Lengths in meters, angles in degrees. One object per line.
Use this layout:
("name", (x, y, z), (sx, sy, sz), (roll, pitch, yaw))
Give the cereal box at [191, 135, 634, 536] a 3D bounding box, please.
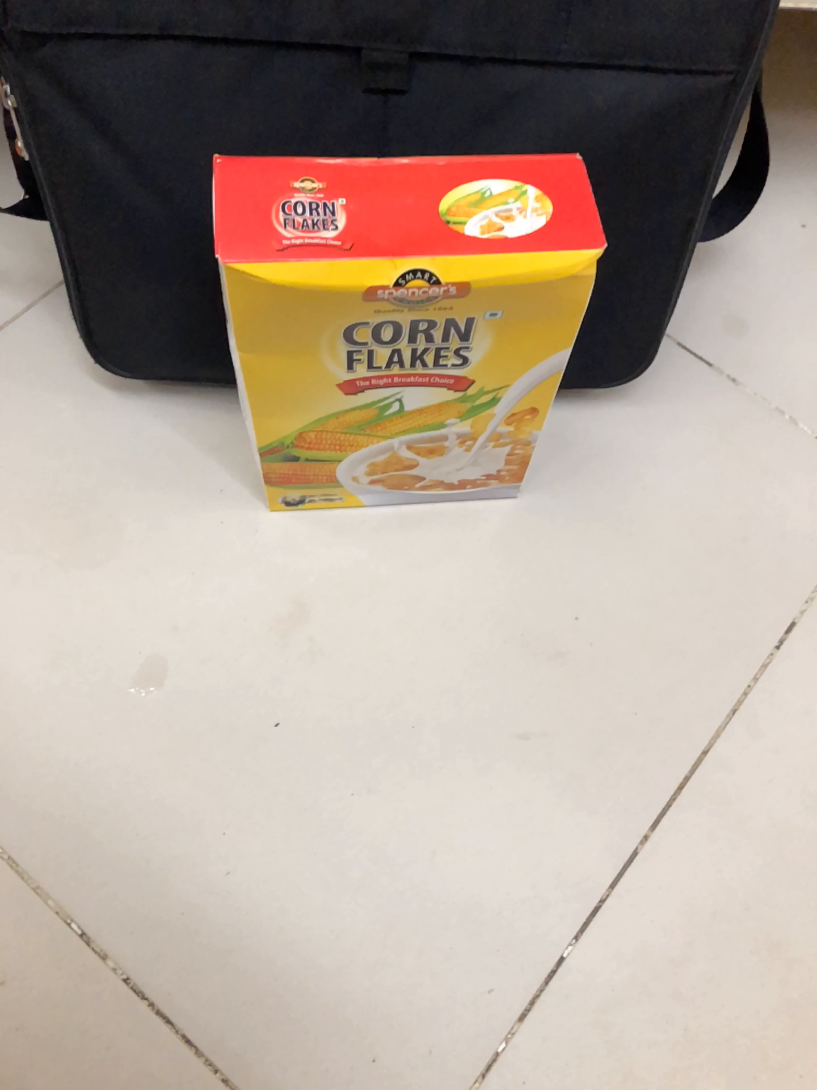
("cereal box", (-0.005, -0.099, 0.523), (0.190, 0.269, 0.070), (-4, 66, -4))
